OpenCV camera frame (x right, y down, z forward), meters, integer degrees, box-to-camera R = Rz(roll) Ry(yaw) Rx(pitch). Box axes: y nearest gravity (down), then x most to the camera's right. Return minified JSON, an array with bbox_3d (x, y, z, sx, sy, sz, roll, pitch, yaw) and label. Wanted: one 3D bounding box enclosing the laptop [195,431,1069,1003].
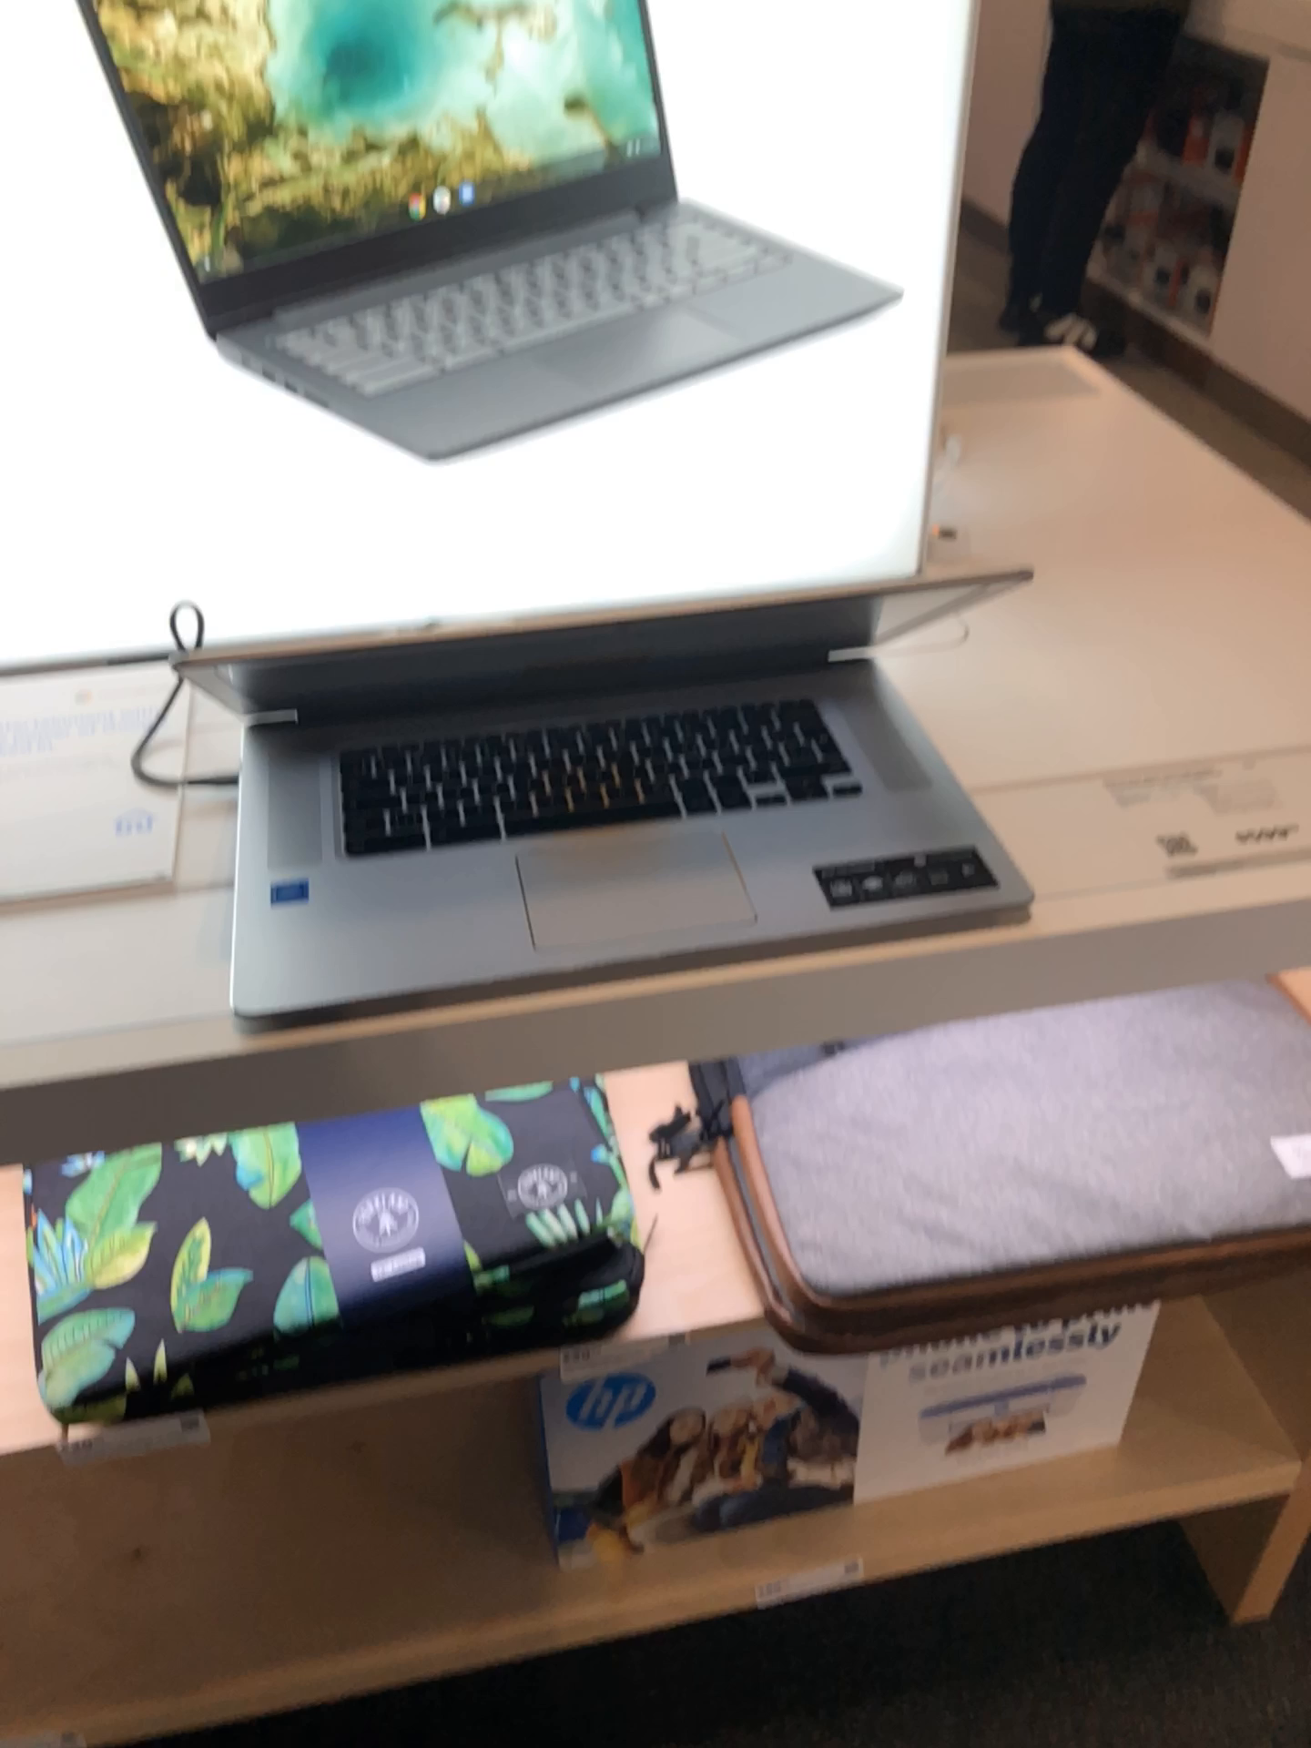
[{"bbox_3d":[-0.023,-0.094,0.718,0.364,0.146,0.232,-8,39,-11],"label":"laptop"}]
